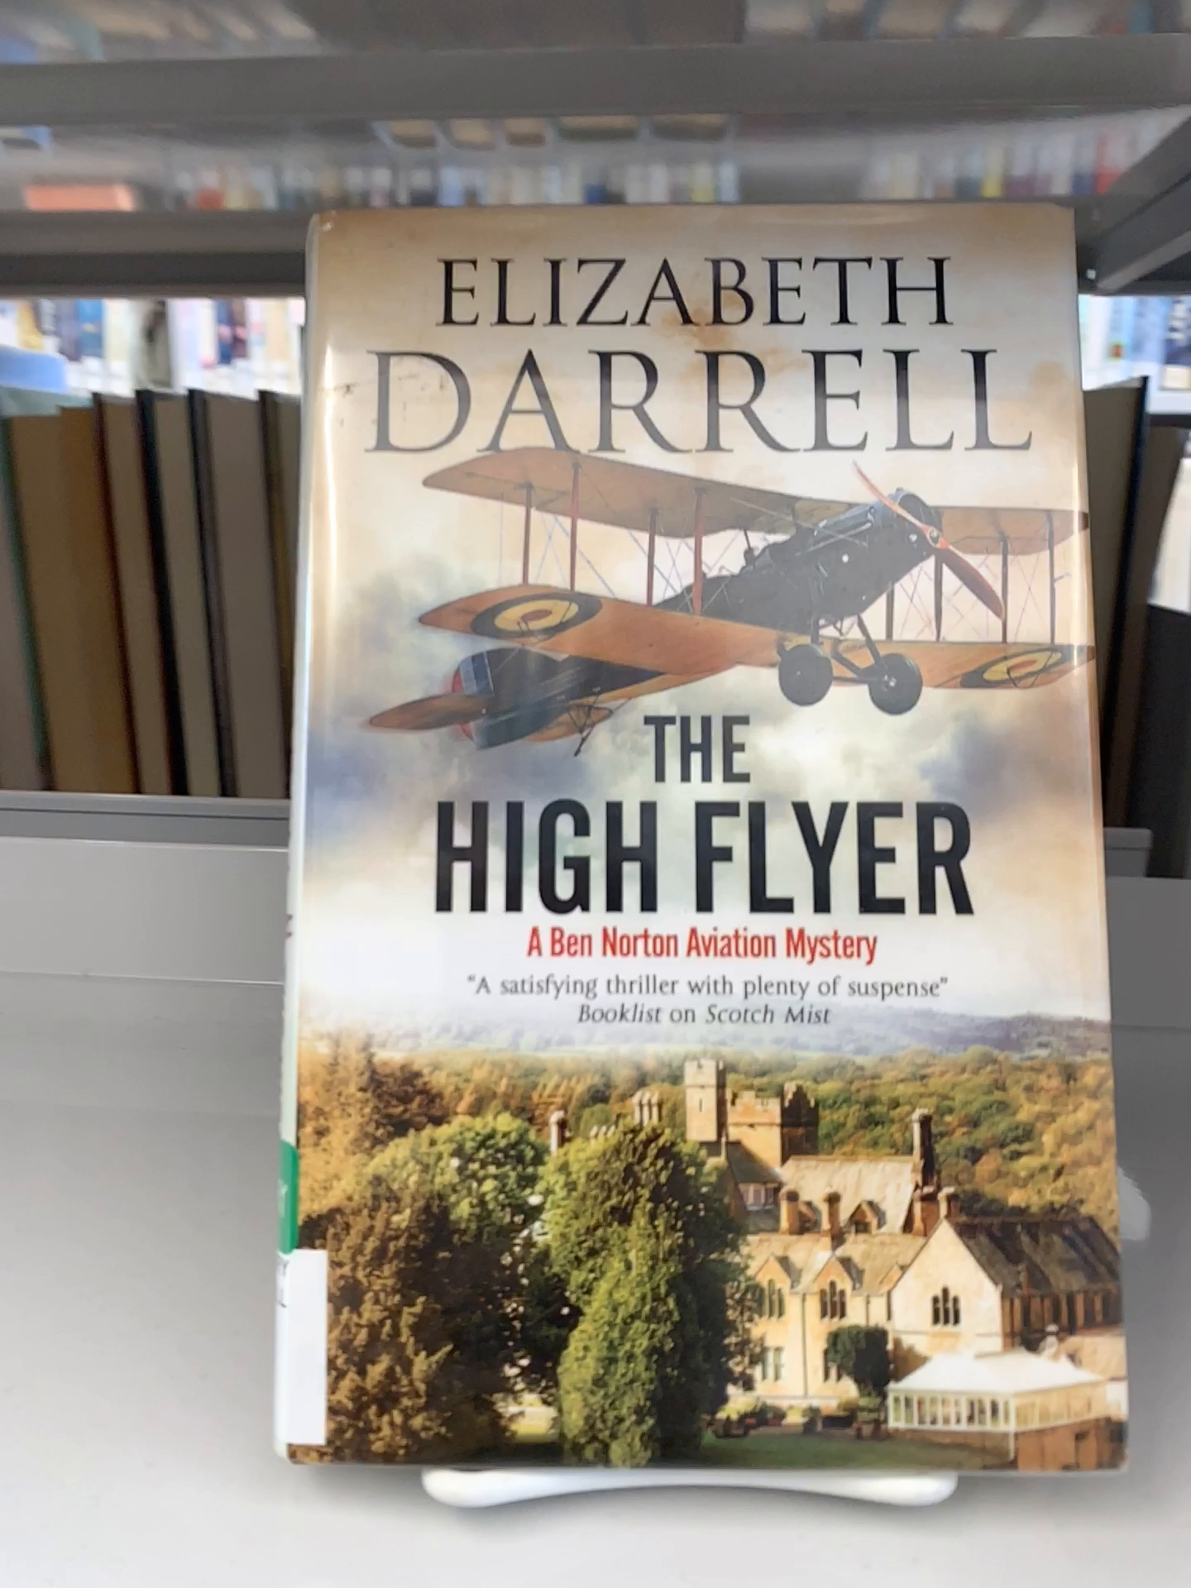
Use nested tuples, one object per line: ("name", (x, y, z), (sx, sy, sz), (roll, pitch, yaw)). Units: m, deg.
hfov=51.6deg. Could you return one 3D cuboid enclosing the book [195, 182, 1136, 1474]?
("book", (0.012, 0.002, 0.221), (0.151, 0.215, 0.031), (0, -5, -1))
